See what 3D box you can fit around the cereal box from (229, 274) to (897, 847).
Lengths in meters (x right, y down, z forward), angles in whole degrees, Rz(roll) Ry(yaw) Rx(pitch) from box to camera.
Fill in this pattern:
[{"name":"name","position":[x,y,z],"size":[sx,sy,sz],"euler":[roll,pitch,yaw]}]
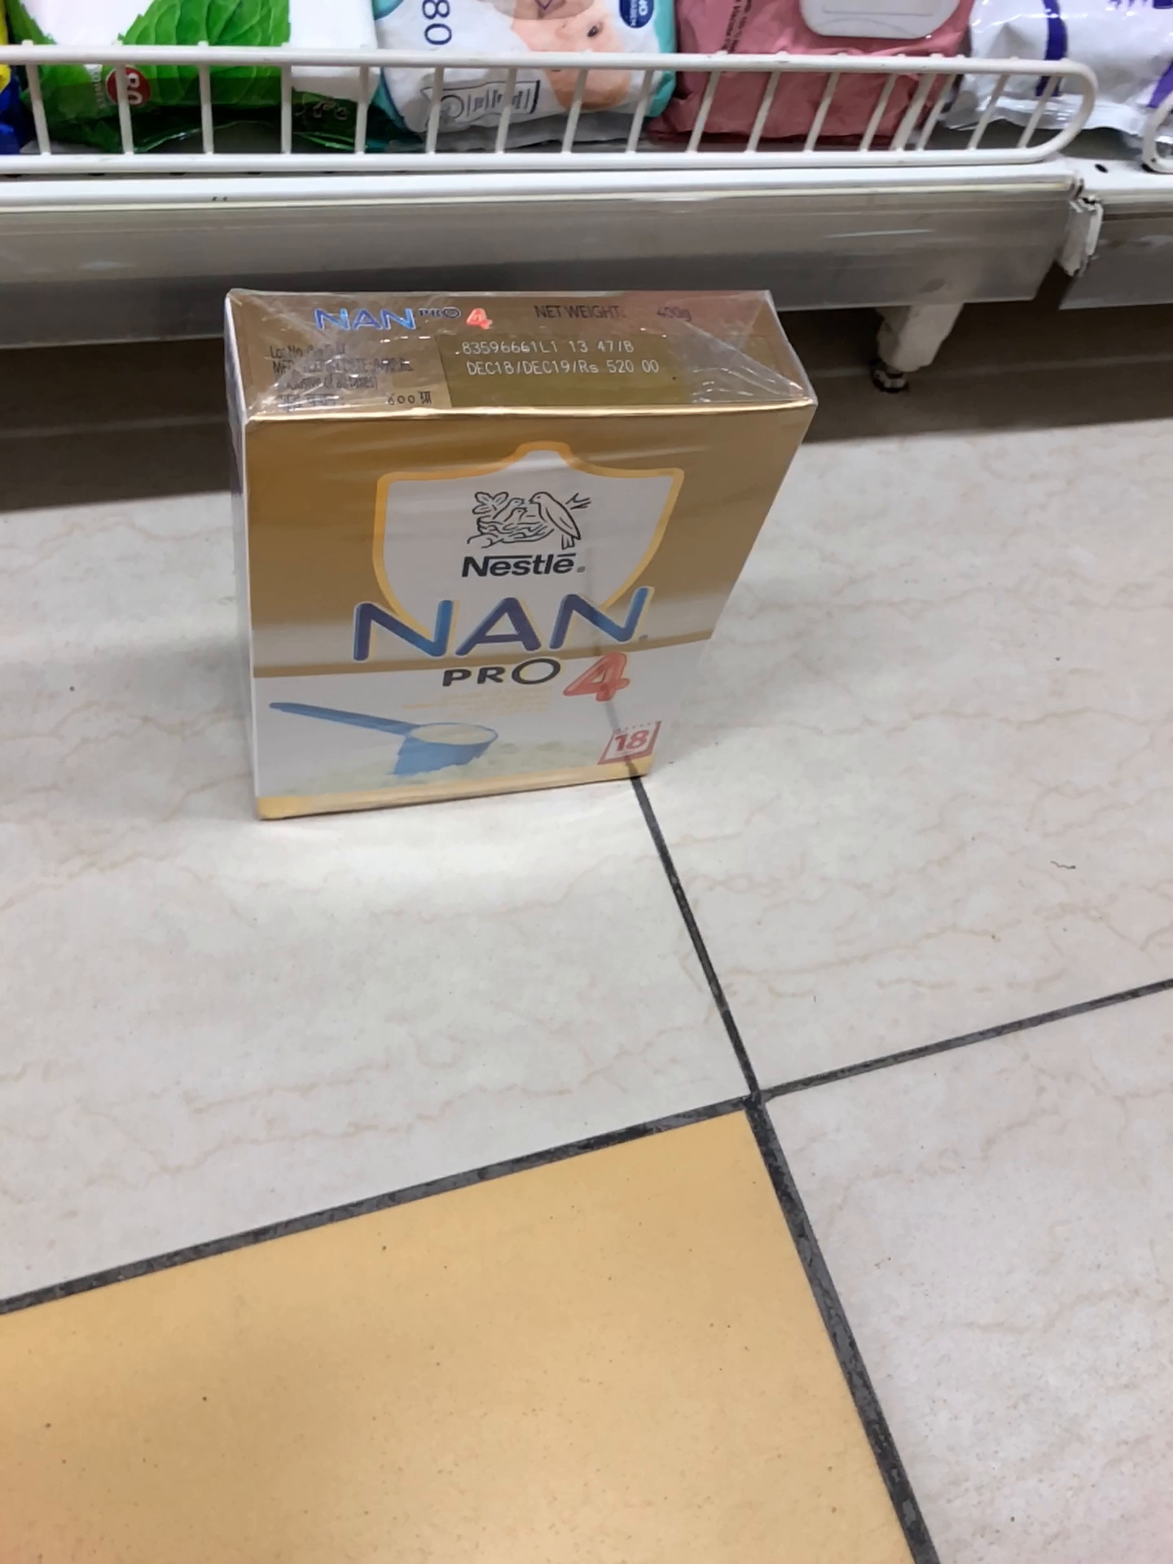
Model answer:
[{"name":"cereal box","position":[-0.022,-0.058,0.398],"size":[0.160,0.189,0.050],"euler":[-7,60,-18]}]
